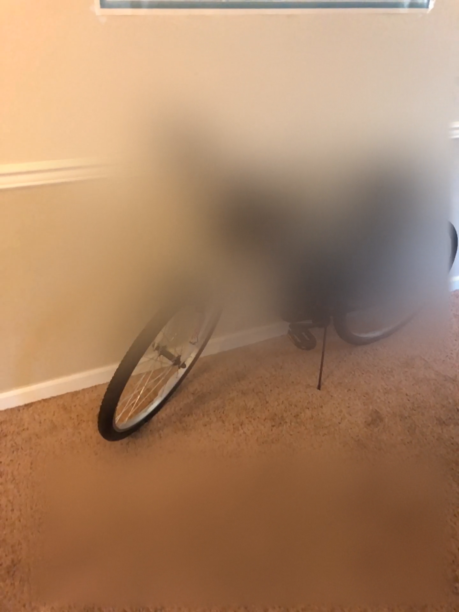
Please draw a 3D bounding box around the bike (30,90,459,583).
[{"bbox_3d":[0.381,-0.074,1.950,1.869,1.177,0.681,-19,35,-28],"label":"bike"}]
